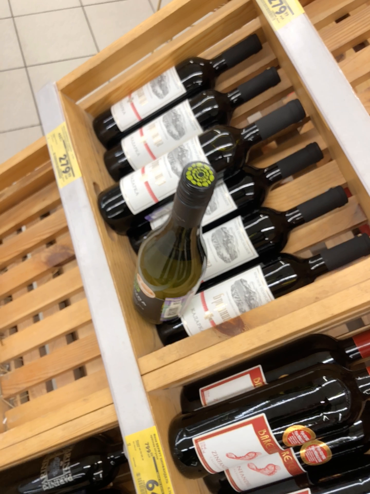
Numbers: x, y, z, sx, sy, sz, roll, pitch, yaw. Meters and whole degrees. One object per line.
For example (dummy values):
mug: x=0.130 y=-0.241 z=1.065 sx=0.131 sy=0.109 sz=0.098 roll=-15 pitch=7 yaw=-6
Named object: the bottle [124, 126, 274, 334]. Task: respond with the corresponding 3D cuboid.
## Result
bottle: x=-0.009 y=0.007 z=0.451 sx=0.090 sy=0.289 sz=0.090 roll=4 pitch=64 yaw=-8
